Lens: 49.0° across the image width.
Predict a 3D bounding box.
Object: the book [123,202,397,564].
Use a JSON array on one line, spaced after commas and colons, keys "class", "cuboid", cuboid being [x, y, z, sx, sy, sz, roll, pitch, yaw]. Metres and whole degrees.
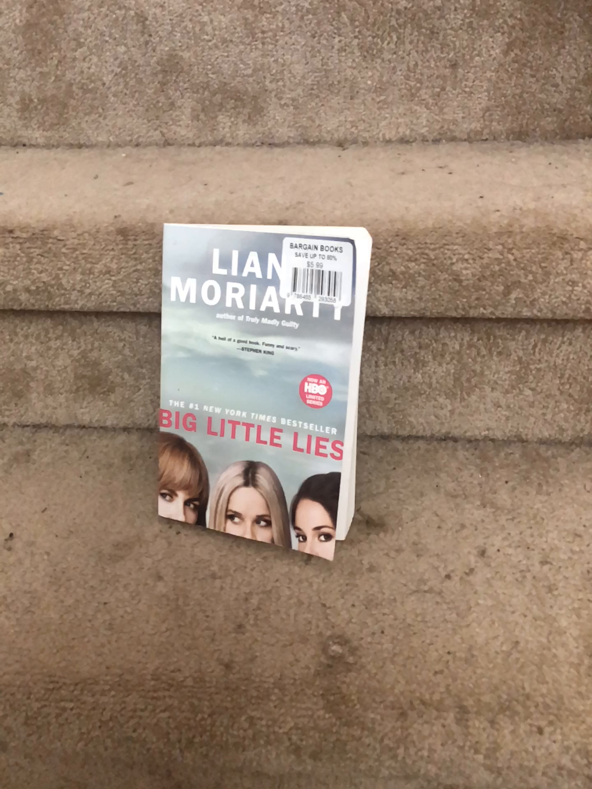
[{"class": "book", "cuboid": [-0.028, -0.012, 0.428, 0.160, 0.209, 0.050, 8, 14, 15]}]
